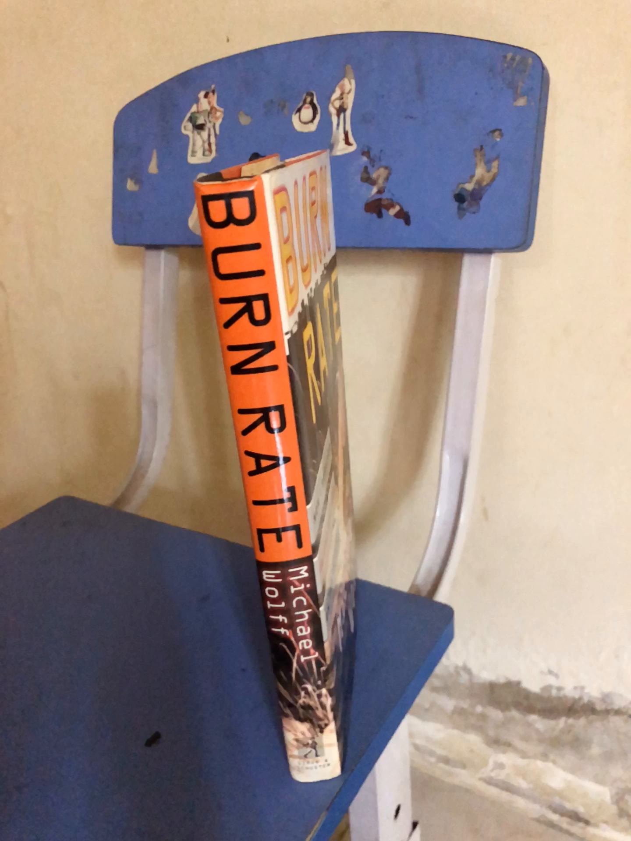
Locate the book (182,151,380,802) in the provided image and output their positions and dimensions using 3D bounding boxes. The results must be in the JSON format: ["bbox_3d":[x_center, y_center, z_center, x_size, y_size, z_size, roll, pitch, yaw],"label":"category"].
[{"bbox_3d":[0.002,0.003,0.332,0.040,0.239,0.201,-4,20,7],"label":"book"}]
